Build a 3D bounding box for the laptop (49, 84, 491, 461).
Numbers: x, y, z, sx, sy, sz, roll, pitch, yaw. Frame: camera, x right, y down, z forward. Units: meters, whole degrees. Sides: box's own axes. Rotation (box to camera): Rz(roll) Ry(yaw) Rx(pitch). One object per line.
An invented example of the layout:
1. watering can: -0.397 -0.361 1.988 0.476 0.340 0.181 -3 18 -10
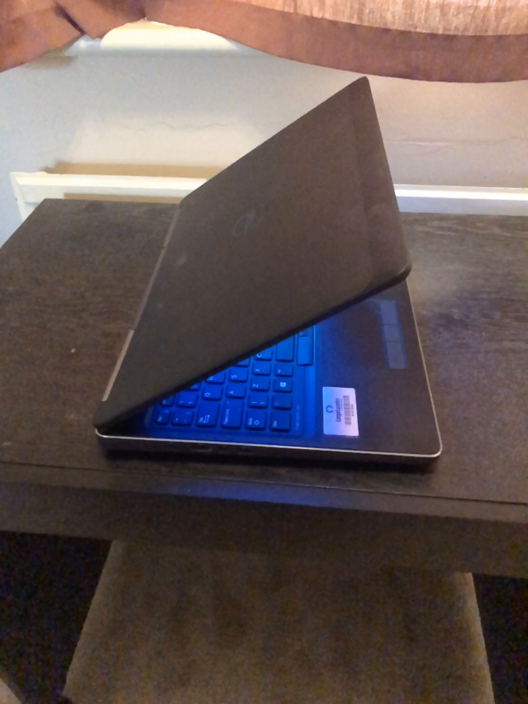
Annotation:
1. laptop: 0.013 -0.104 0.501 0.243 0.134 0.365 3 40 5
